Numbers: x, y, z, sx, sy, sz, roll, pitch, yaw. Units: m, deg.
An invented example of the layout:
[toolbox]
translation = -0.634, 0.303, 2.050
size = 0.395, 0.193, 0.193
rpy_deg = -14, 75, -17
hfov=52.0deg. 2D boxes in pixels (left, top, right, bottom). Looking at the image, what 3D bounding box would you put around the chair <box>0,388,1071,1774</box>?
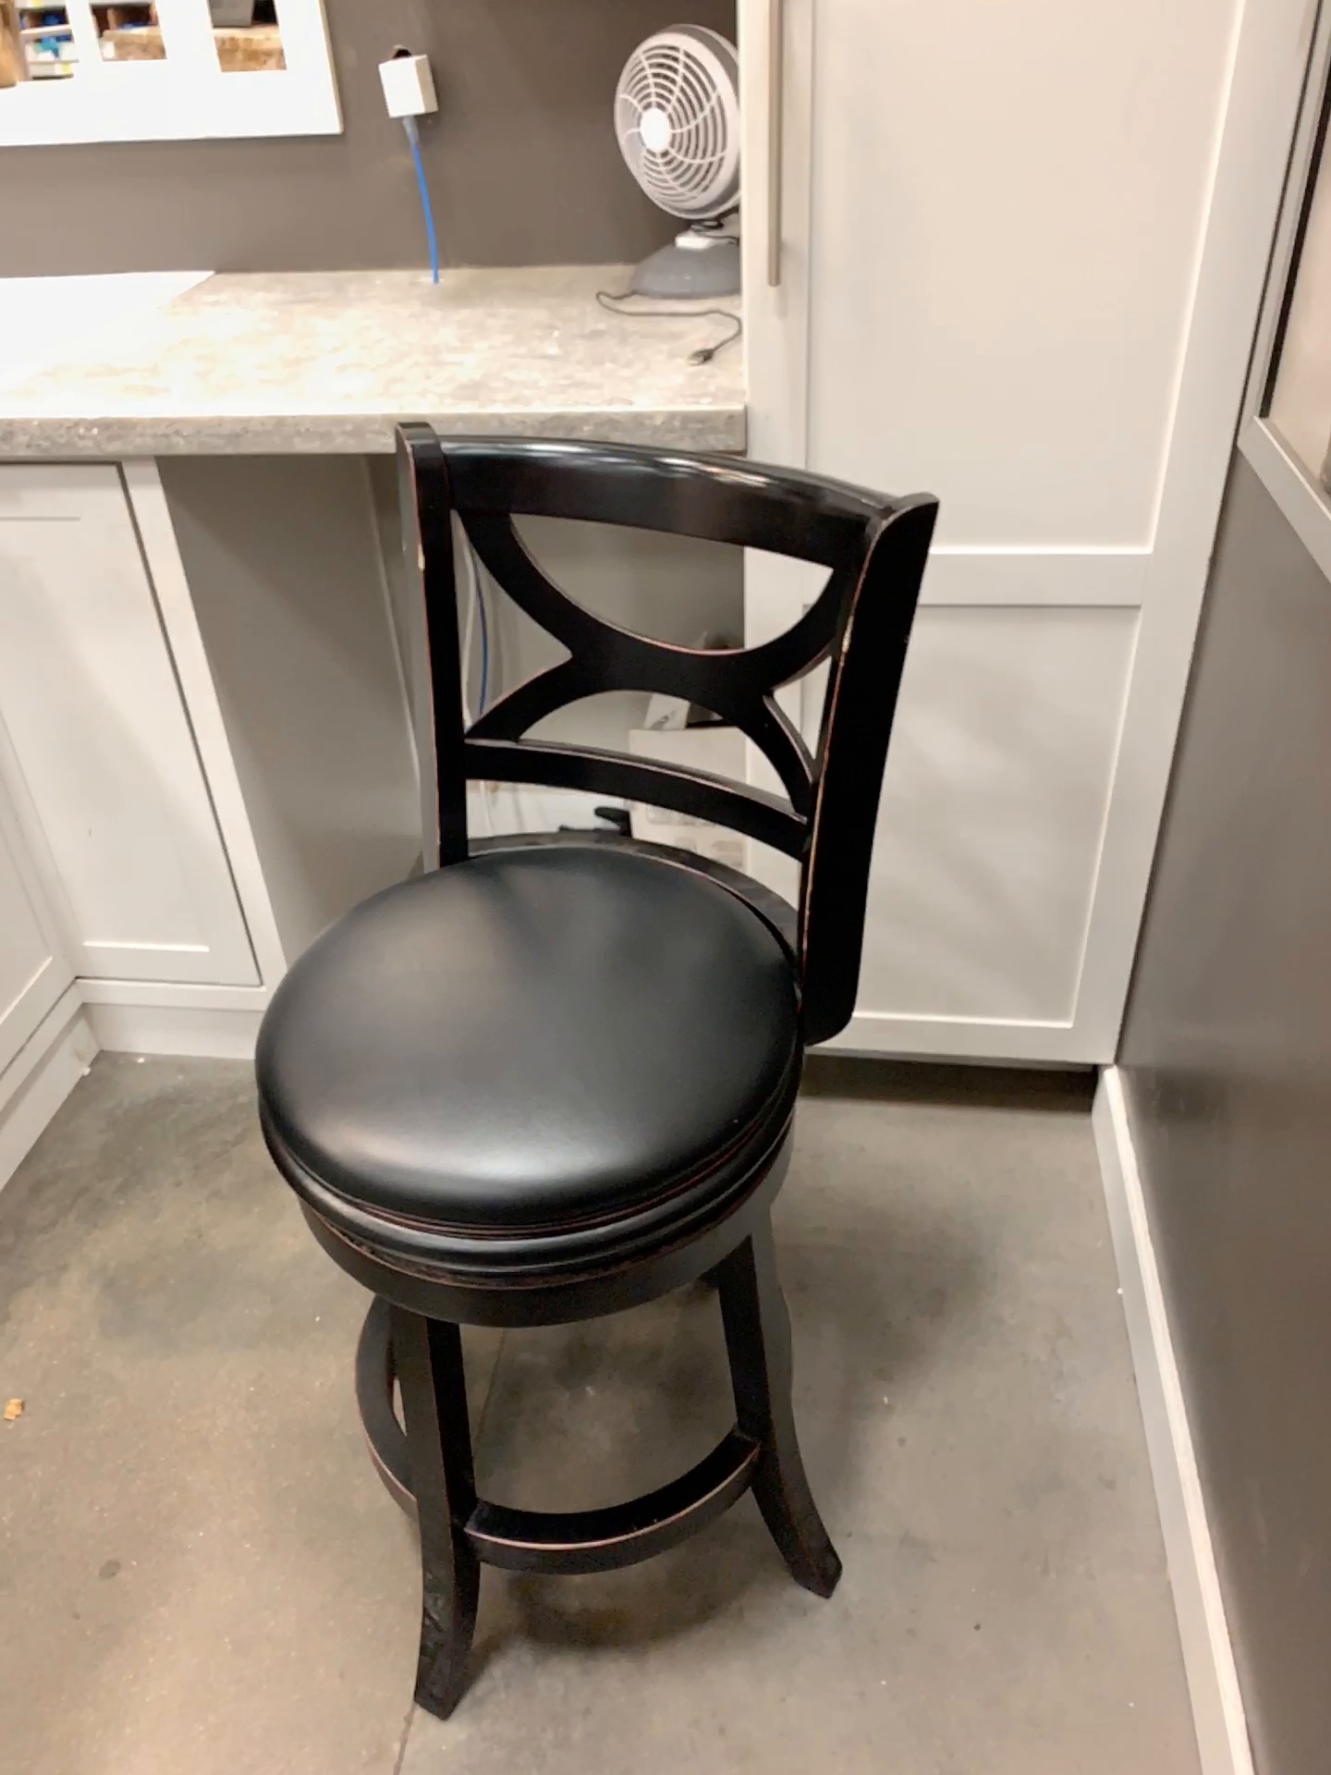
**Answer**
[chair]
translation = -0.086, 0.170, 1.108
size = 0.558, 0.912, 0.606
rpy_deg = 15, 39, 24
